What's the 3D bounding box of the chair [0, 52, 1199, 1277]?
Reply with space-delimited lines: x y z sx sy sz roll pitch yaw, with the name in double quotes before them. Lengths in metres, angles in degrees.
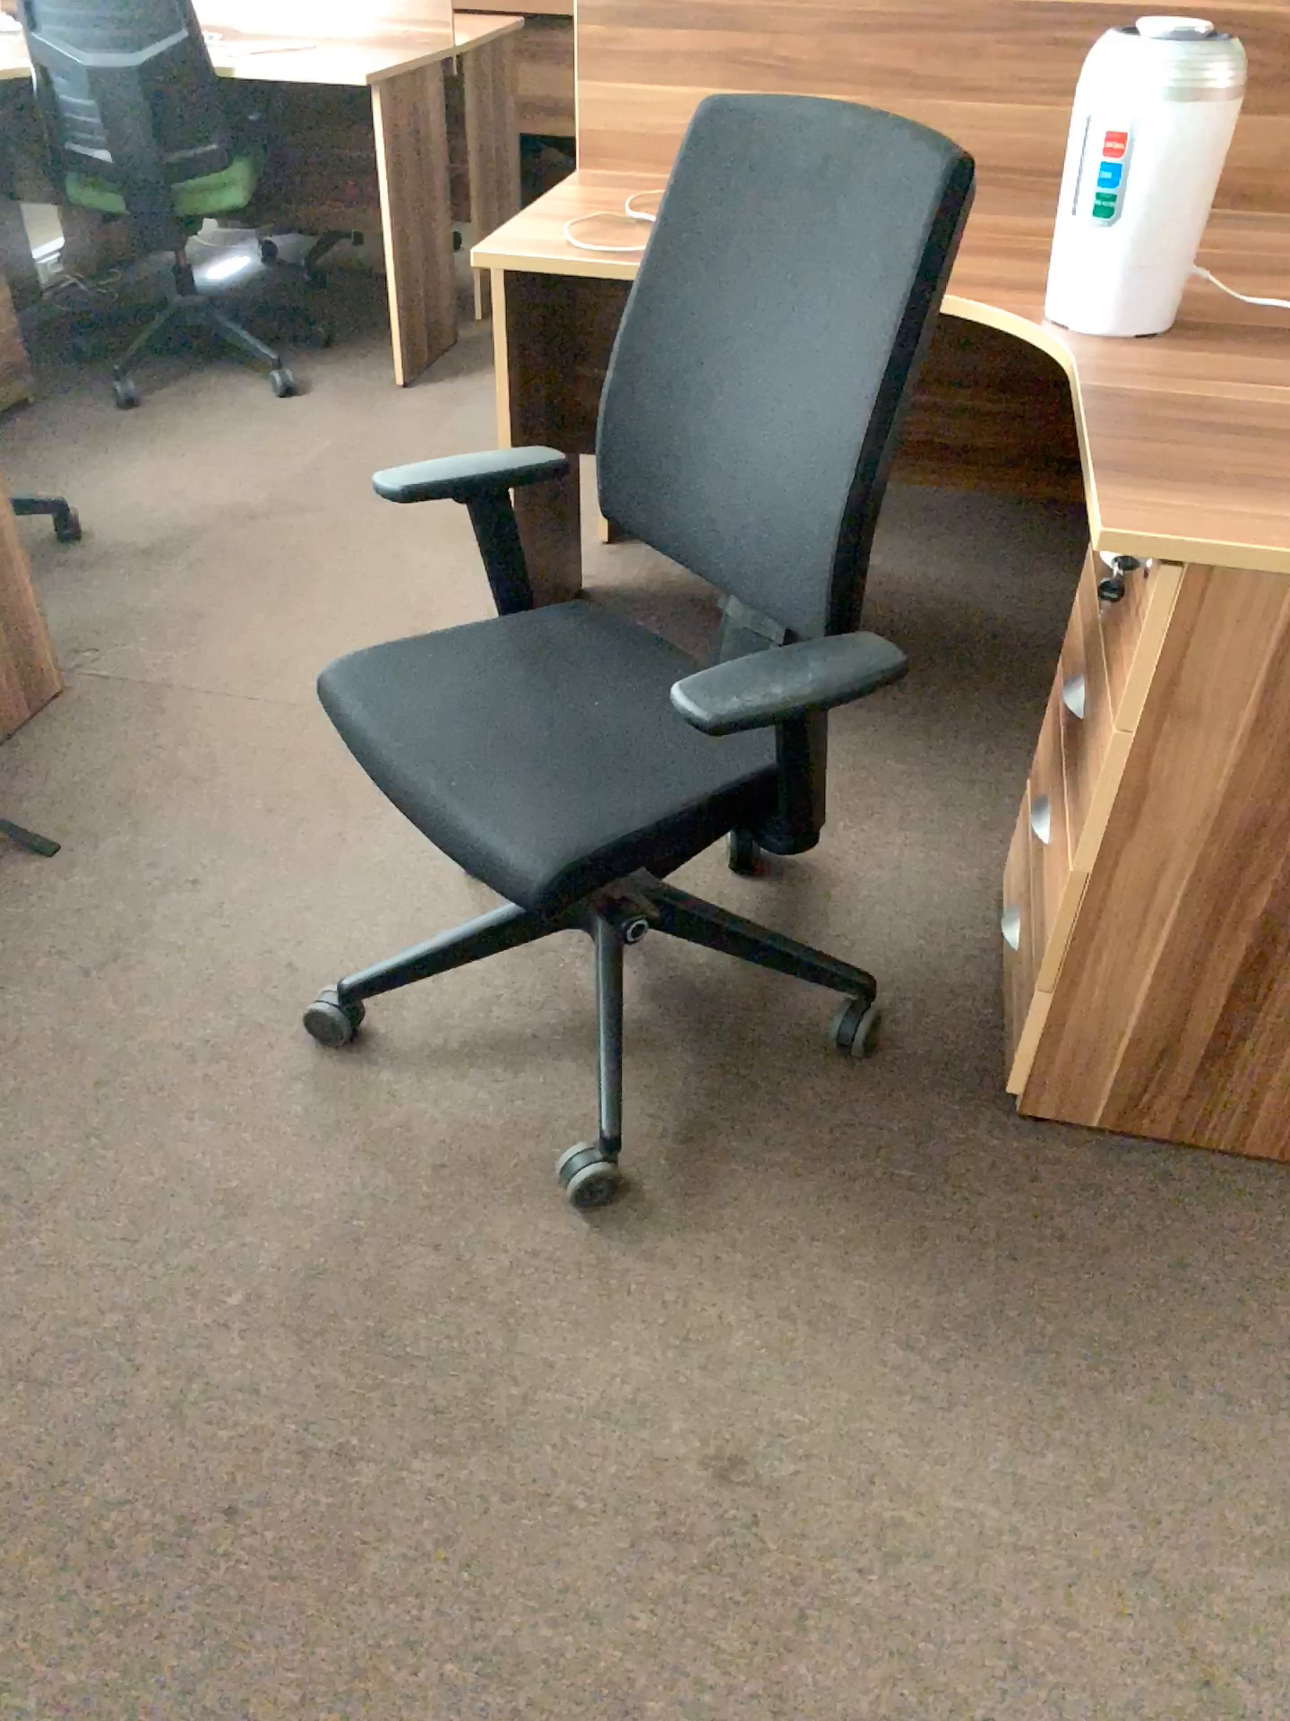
"chair" -0.062 -0.266 1.401 0.791 0.915 0.672 -24 44 -28
